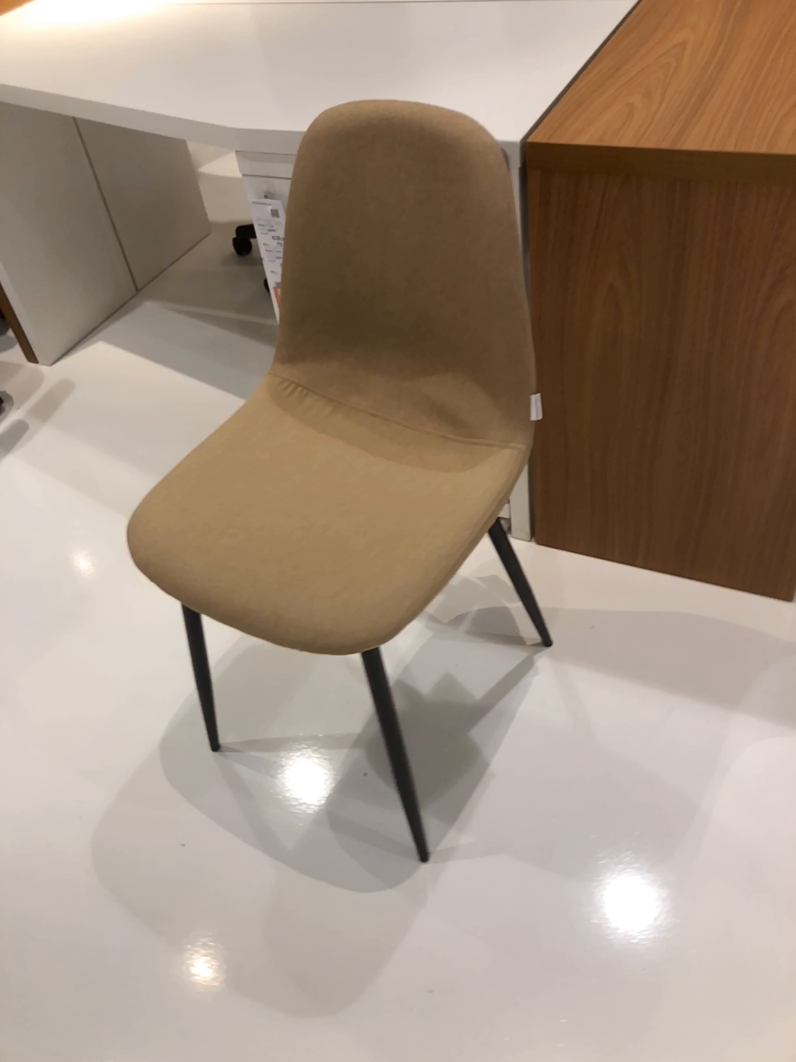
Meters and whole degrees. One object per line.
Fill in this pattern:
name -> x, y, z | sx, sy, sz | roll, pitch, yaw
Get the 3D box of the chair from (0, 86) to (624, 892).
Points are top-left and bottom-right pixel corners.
chair -> -0.057, -0.050, 1.124 | 0.481, 0.784, 0.523 | 19, 50, 27
